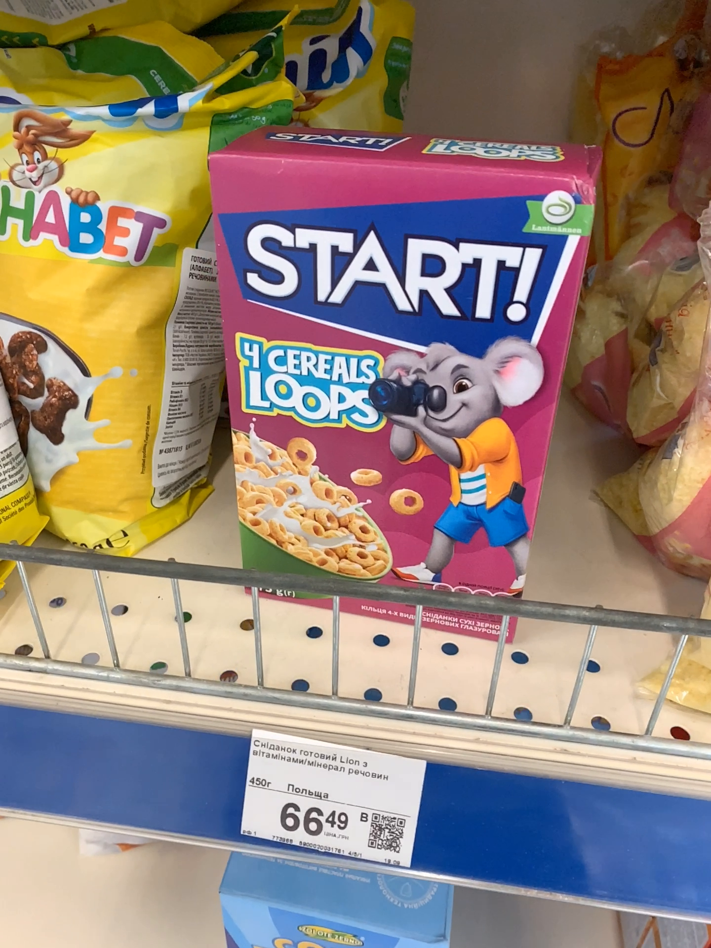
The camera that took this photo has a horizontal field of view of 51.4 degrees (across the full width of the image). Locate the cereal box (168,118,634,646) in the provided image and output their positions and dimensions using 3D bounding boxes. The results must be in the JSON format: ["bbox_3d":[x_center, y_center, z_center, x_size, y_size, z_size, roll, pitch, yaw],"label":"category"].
[{"bbox_3d":[0.013,-0.027,0.251,0.120,0.159,0.050,8,34,11],"label":"cereal box"}]
